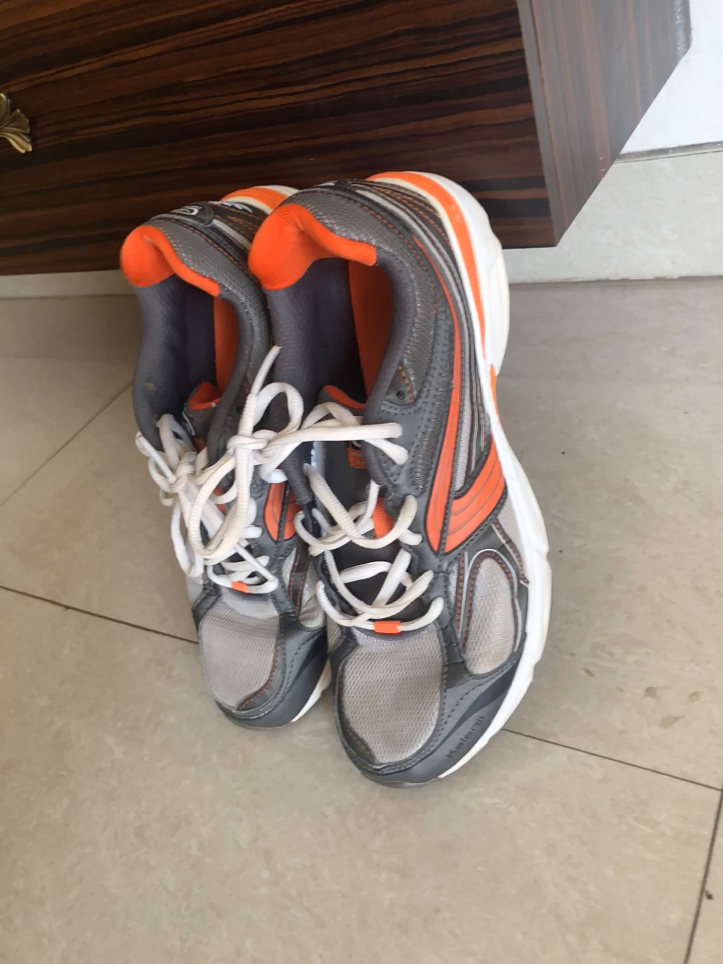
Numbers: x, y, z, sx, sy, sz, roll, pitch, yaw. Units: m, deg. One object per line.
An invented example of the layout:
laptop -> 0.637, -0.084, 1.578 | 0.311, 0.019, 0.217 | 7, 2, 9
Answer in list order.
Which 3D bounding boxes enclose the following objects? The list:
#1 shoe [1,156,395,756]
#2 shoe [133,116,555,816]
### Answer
shoe -> -0.072, -0.015, 0.415 | 0.120, 0.269, 0.100 | 2, 19, 27
shoe -> 0.002, -0.010, 0.365 | 0.120, 0.259, 0.110 | 3, 17, 35
